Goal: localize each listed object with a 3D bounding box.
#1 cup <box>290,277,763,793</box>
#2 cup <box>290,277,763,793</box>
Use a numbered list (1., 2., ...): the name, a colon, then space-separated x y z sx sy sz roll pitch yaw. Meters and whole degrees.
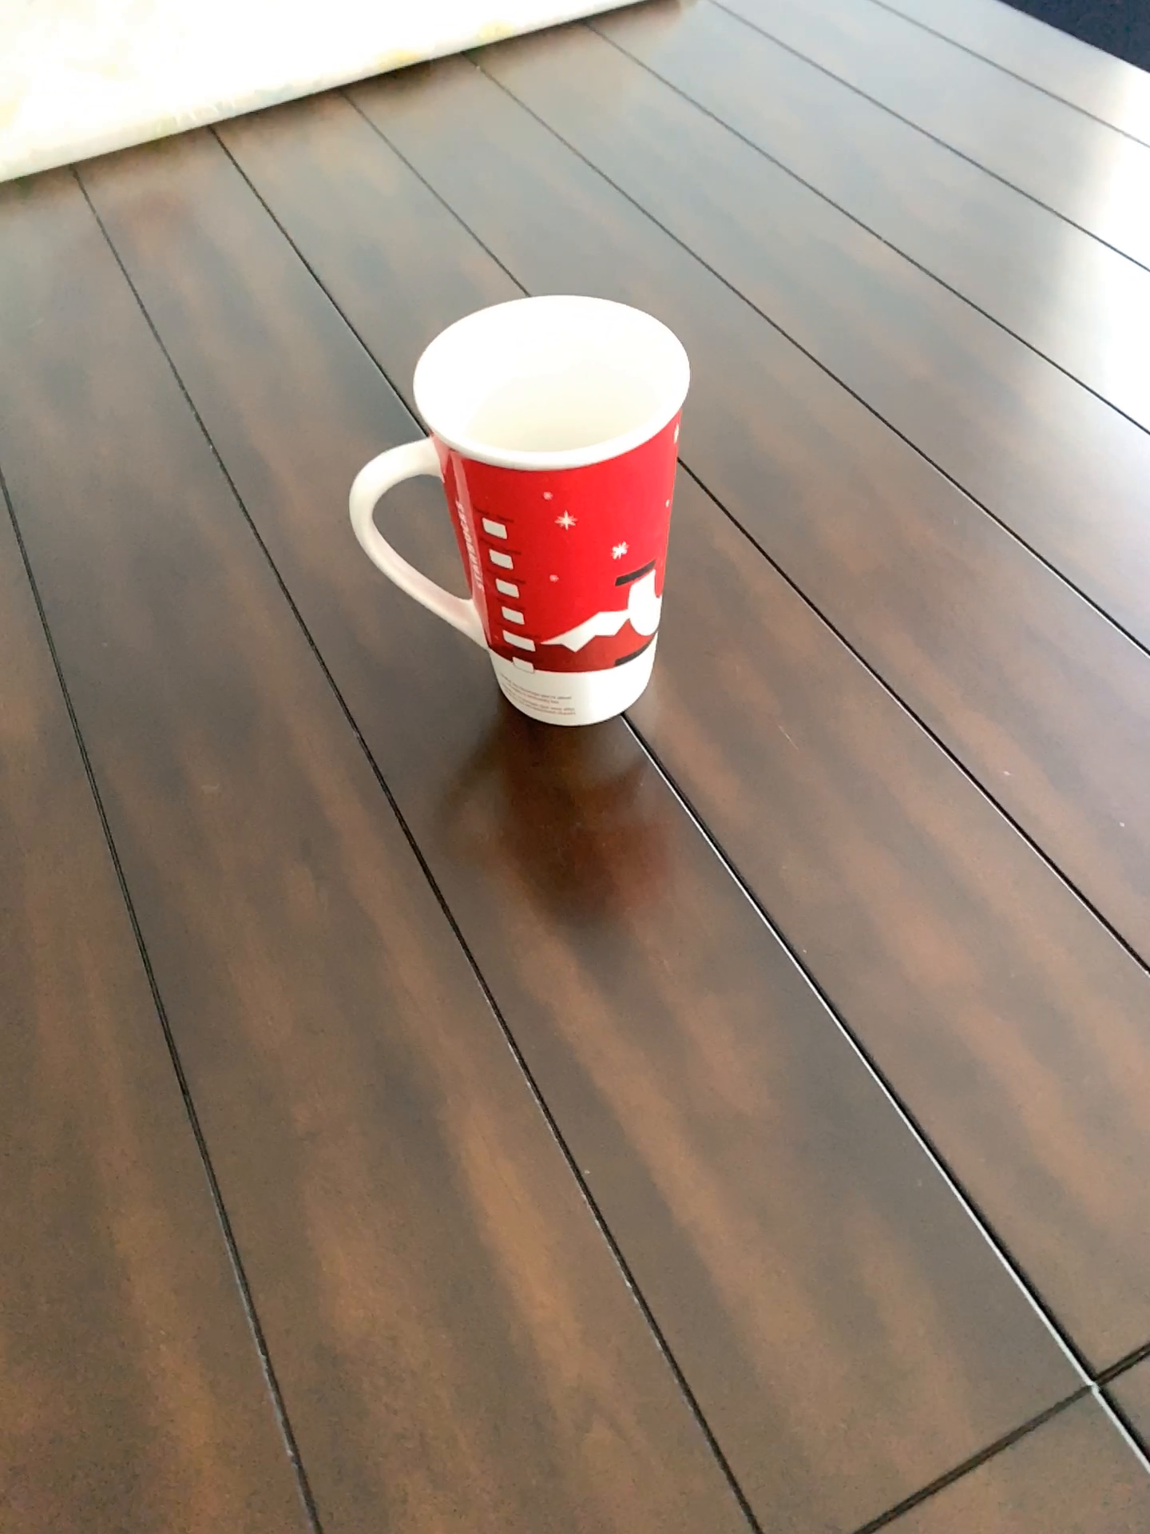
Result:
1. cup: -0.018 -0.093 0.470 0.130 0.120 0.121 -2 51 2
2. cup: -0.018 -0.093 0.470 0.130 0.120 0.121 -2 51 2
